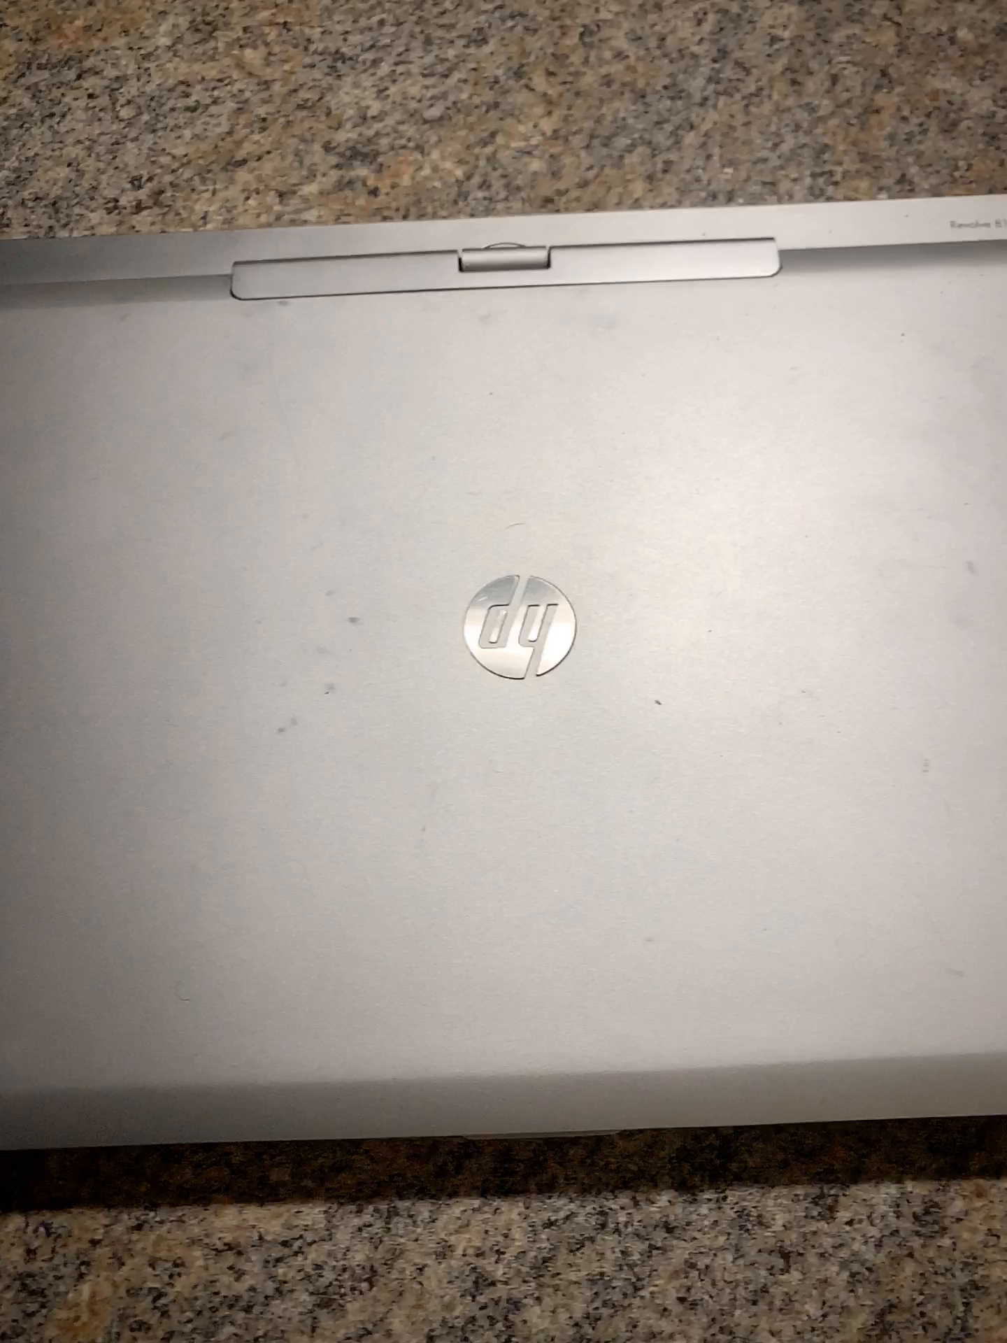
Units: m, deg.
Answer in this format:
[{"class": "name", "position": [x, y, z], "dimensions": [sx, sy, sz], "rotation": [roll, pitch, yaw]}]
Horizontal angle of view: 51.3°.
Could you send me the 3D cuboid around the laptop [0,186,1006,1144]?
[{"class": "laptop", "position": [0.004, -0.015, 0.211], "dimensions": [0.267, 0.005, 0.194], "rotation": [-2, 69, 1]}]
